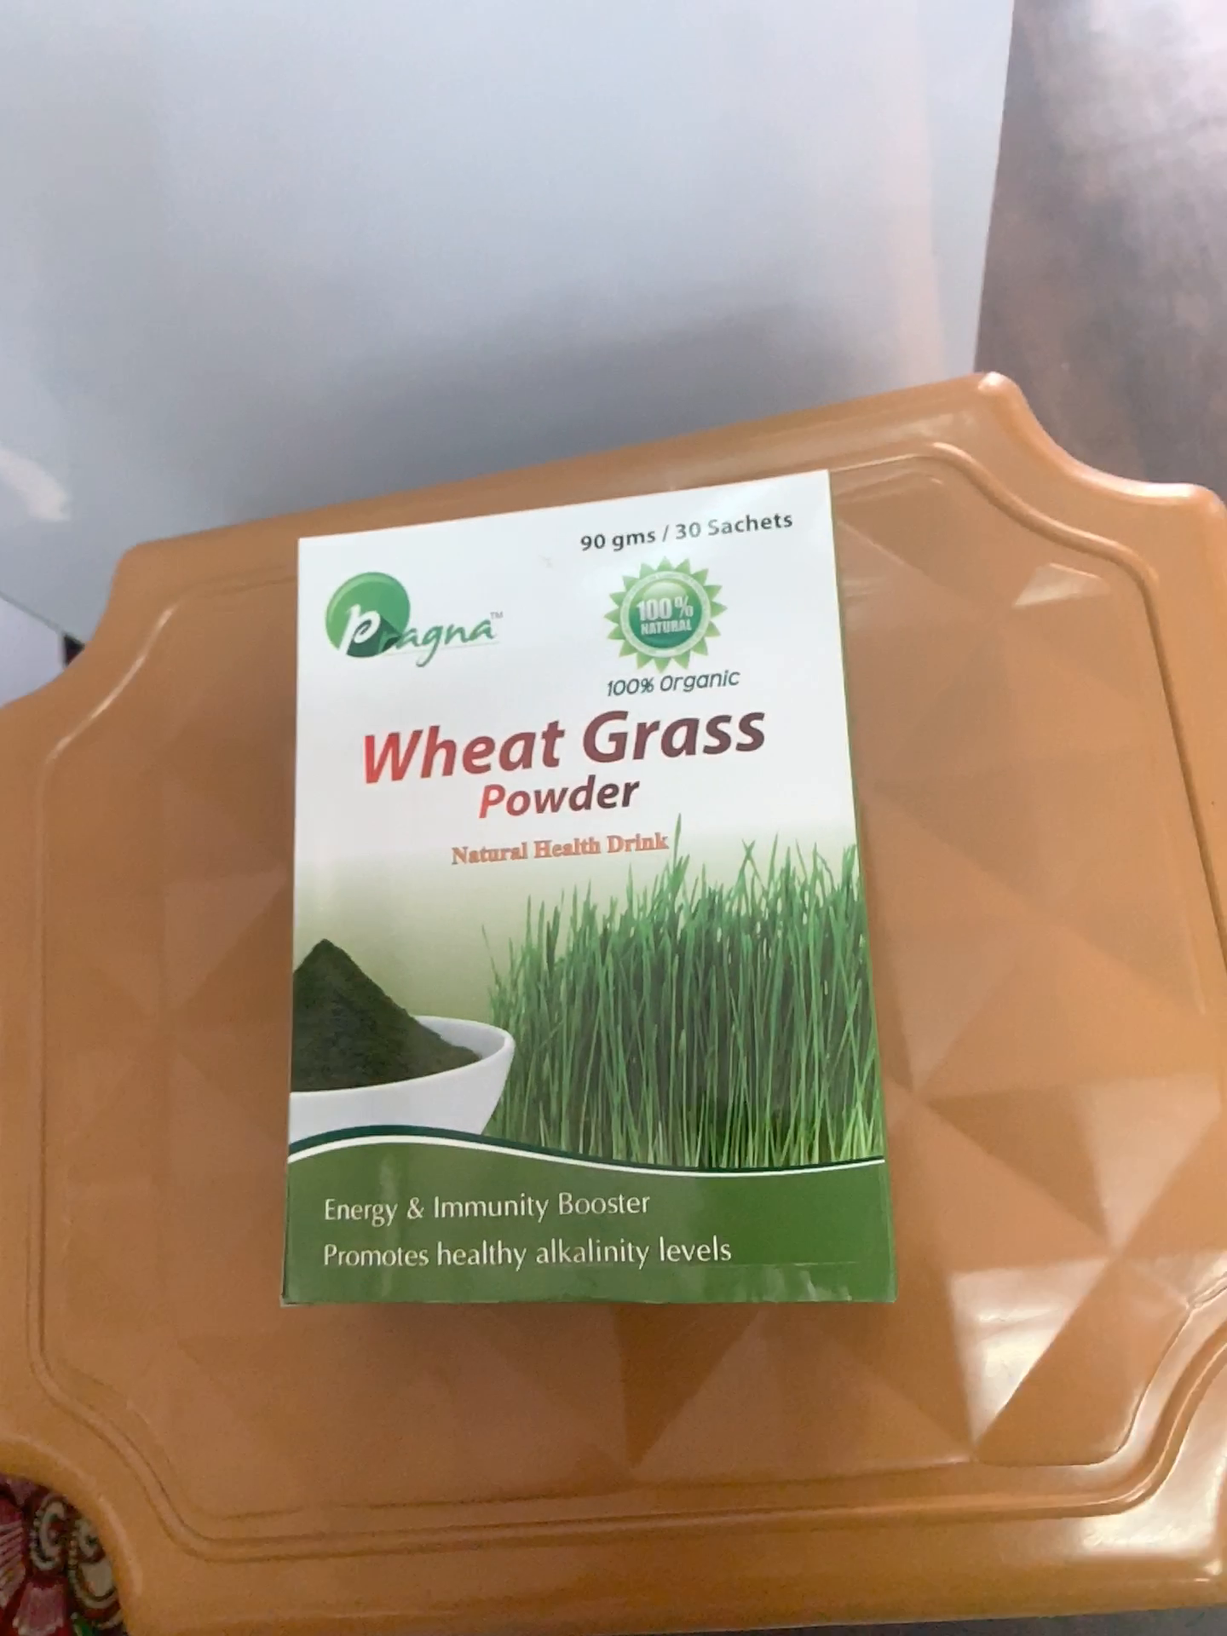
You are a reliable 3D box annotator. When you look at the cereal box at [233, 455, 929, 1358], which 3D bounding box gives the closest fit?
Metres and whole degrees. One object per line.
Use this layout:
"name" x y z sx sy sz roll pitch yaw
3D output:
"cereal box" -0.007 0.020 0.274 0.130 0.050 0.170 -5 77 11
